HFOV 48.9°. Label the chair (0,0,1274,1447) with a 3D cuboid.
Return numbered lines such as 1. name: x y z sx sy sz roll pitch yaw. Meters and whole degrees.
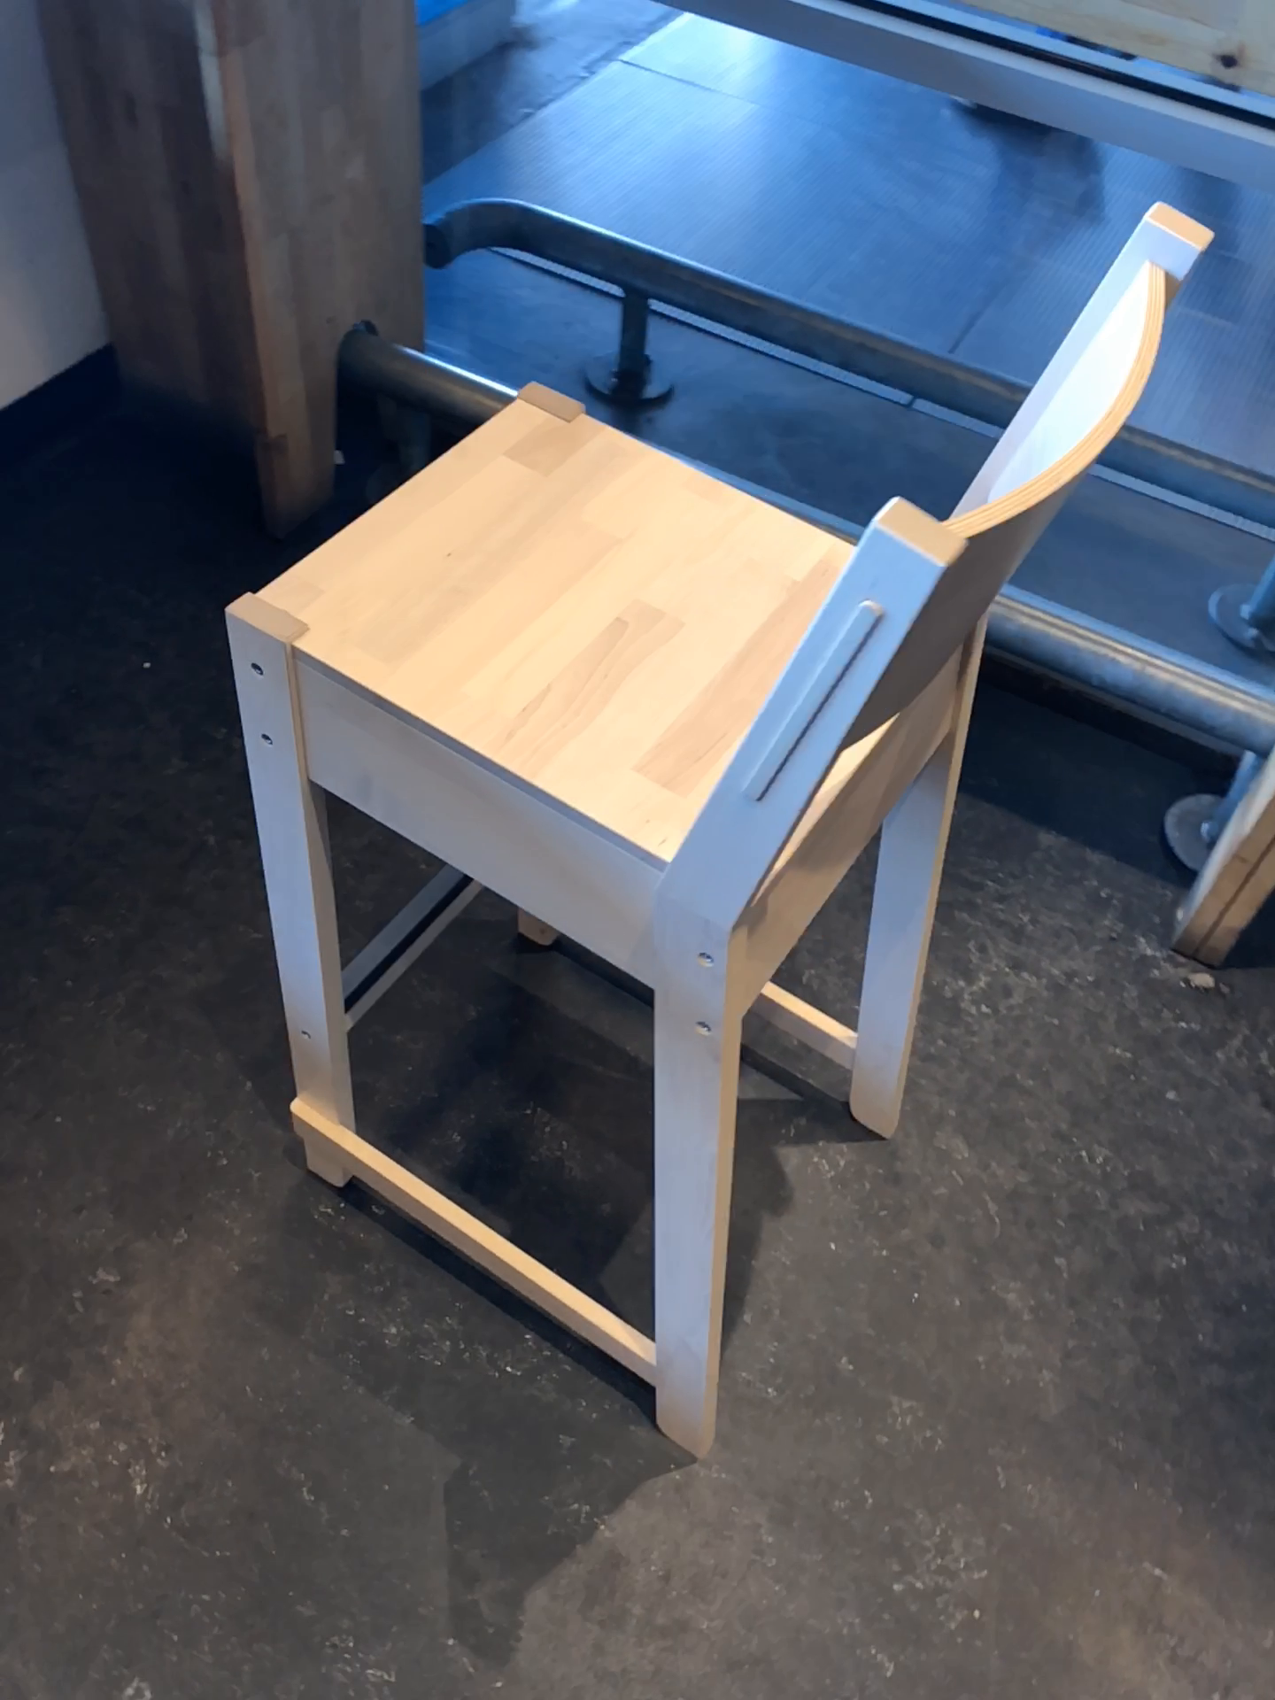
1. chair: -0.030 -0.052 1.066 0.540 0.977 0.461 28 53 16
